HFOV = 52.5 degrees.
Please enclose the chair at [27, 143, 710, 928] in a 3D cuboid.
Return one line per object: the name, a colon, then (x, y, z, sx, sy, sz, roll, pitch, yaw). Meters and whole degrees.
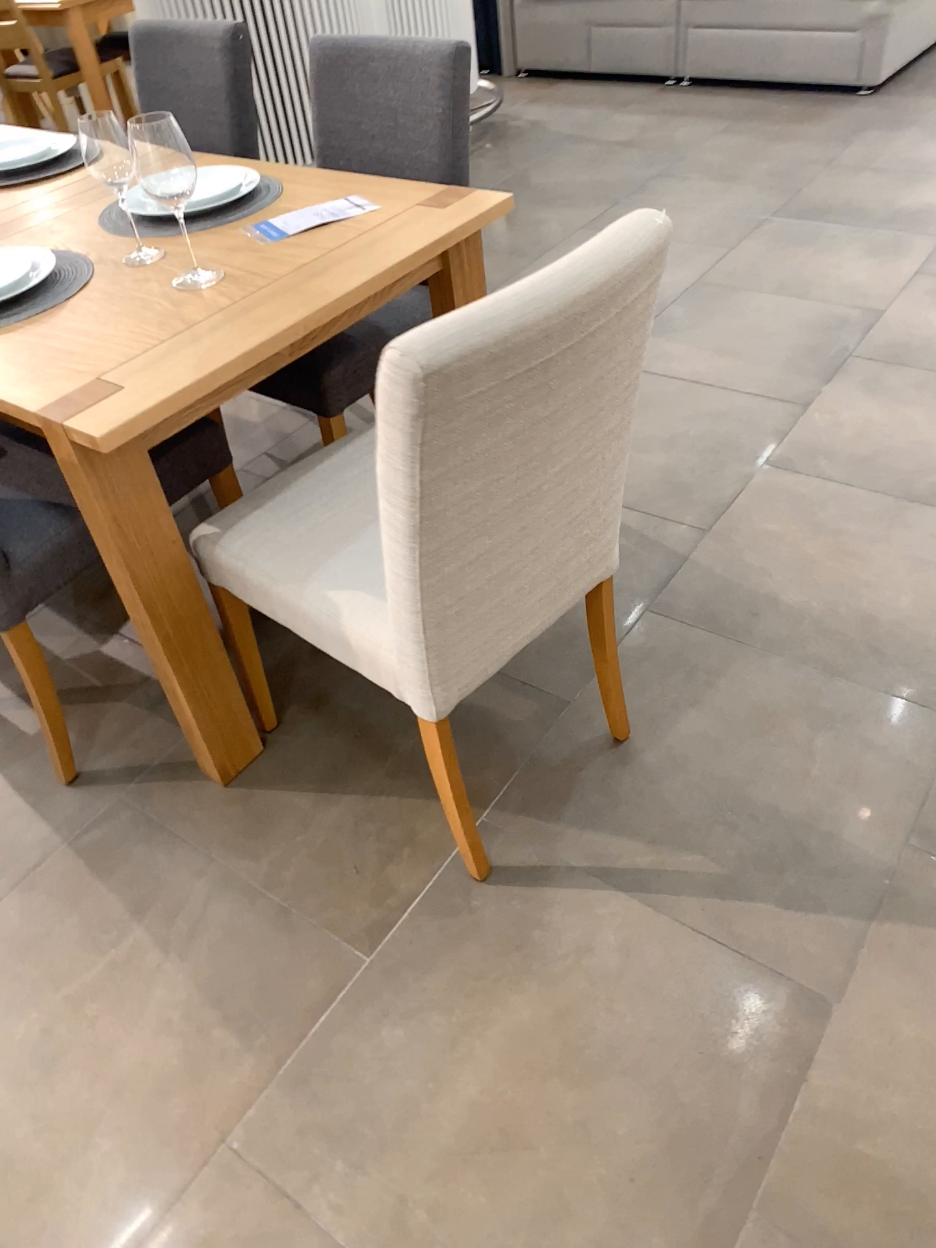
chair: (-0.089, -0.152, 1.405, 0.646, 0.838, 0.538, 28, 53, 36)
